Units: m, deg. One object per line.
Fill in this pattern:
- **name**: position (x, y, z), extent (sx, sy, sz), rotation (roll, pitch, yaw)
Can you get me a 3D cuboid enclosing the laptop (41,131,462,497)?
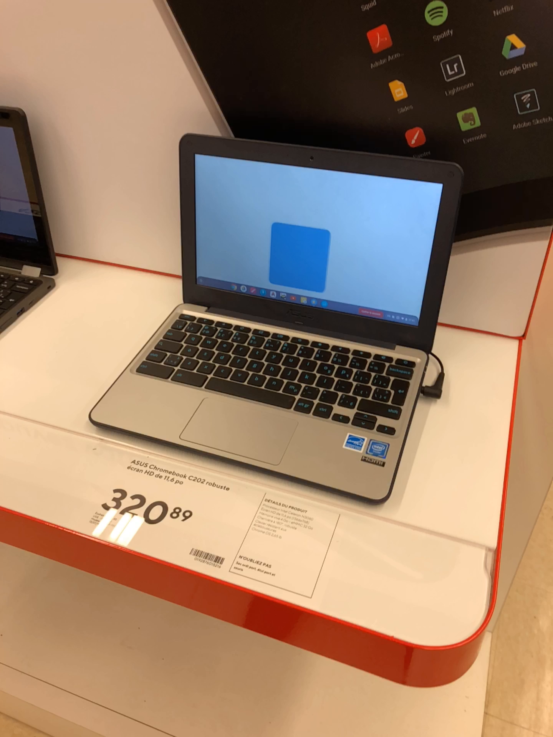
- **laptop**: position (-0.004, -0.067, 0.551), extent (0.275, 0.174, 0.231), rotation (12, 45, 16)
